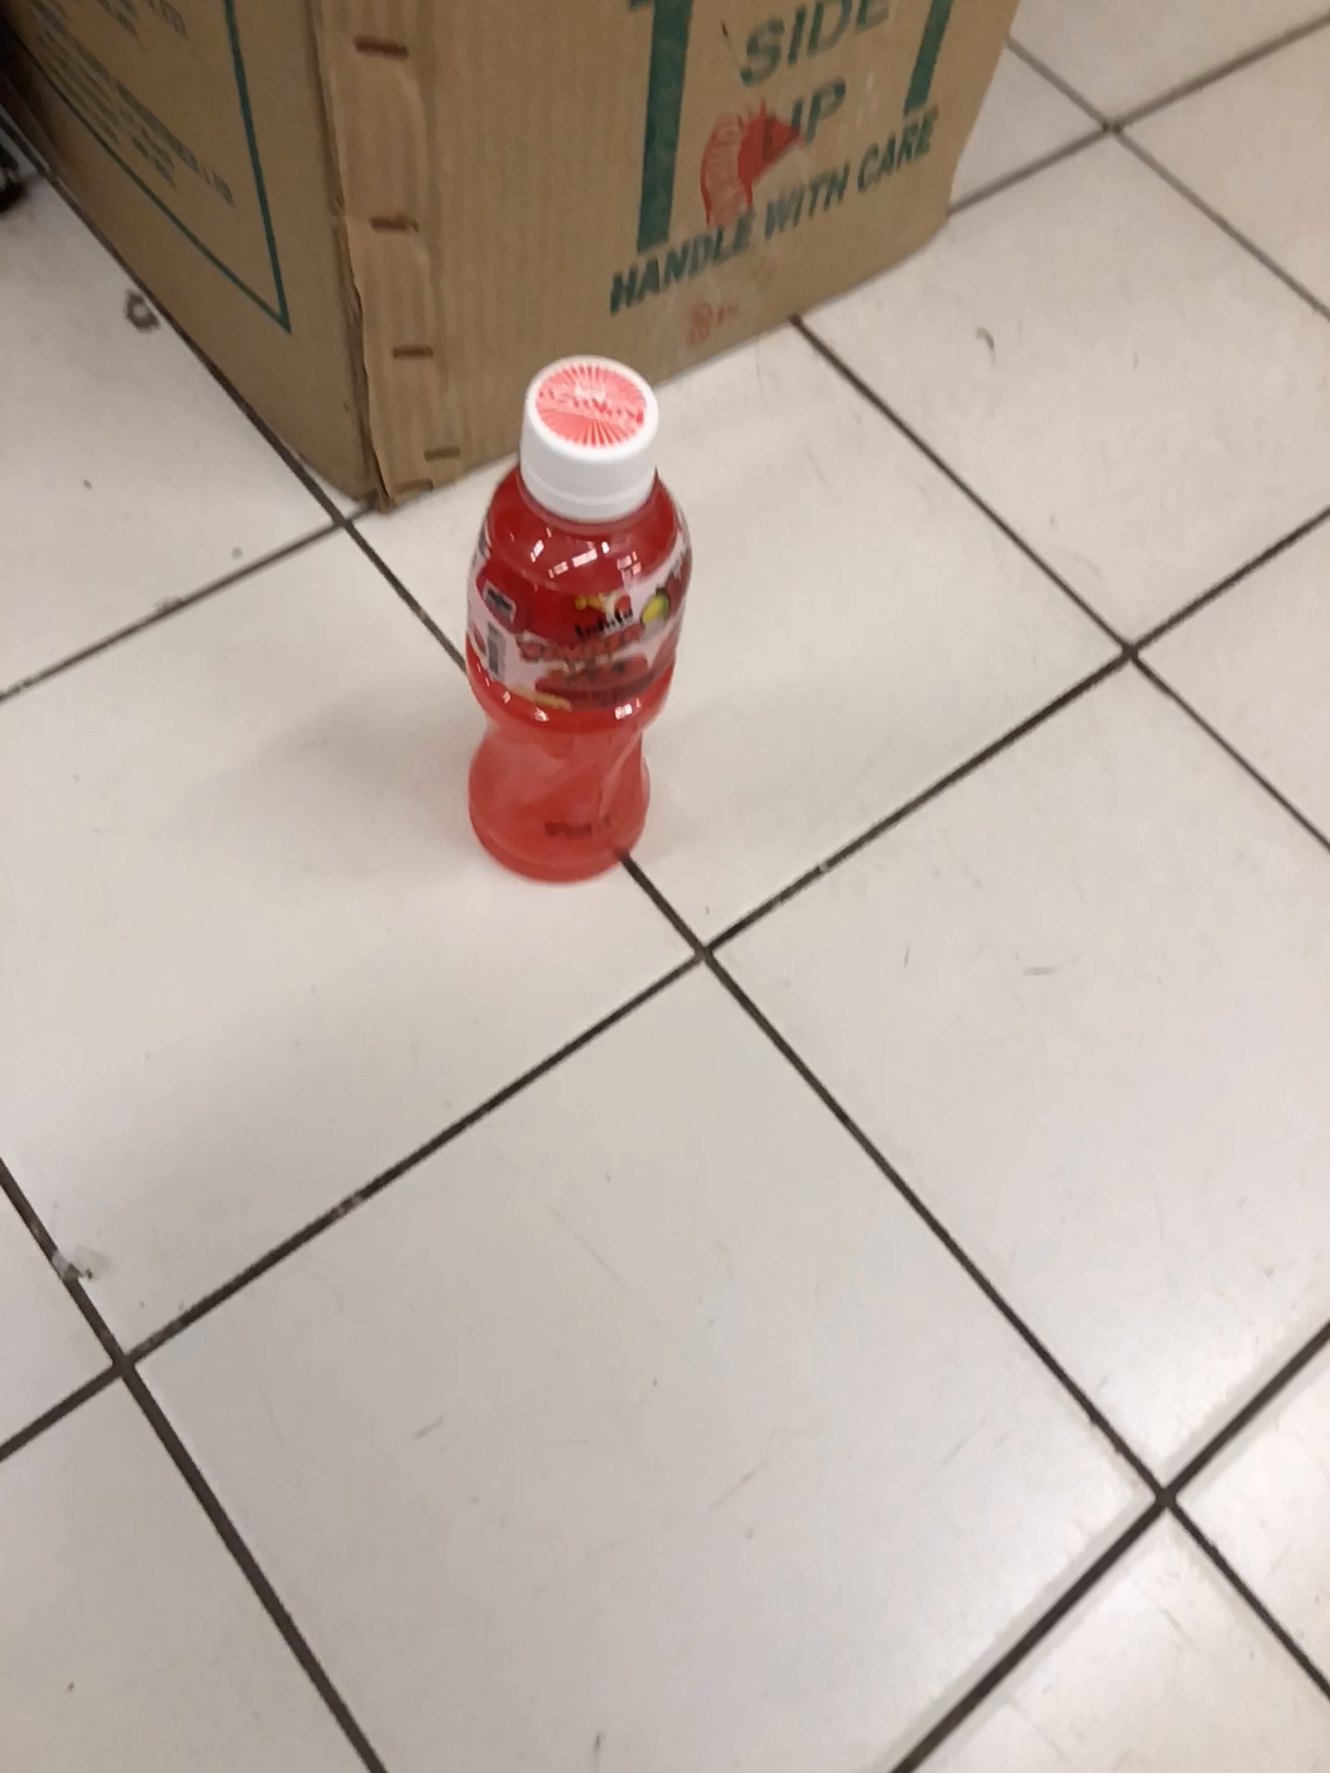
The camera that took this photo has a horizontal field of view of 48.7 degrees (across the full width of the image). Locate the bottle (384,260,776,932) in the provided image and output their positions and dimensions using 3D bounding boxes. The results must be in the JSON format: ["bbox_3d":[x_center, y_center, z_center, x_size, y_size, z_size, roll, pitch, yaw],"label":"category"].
[{"bbox_3d":[-0.028,-0.063,0.396,0.060,0.189,0.060,3,65,-5],"label":"bottle"}]
